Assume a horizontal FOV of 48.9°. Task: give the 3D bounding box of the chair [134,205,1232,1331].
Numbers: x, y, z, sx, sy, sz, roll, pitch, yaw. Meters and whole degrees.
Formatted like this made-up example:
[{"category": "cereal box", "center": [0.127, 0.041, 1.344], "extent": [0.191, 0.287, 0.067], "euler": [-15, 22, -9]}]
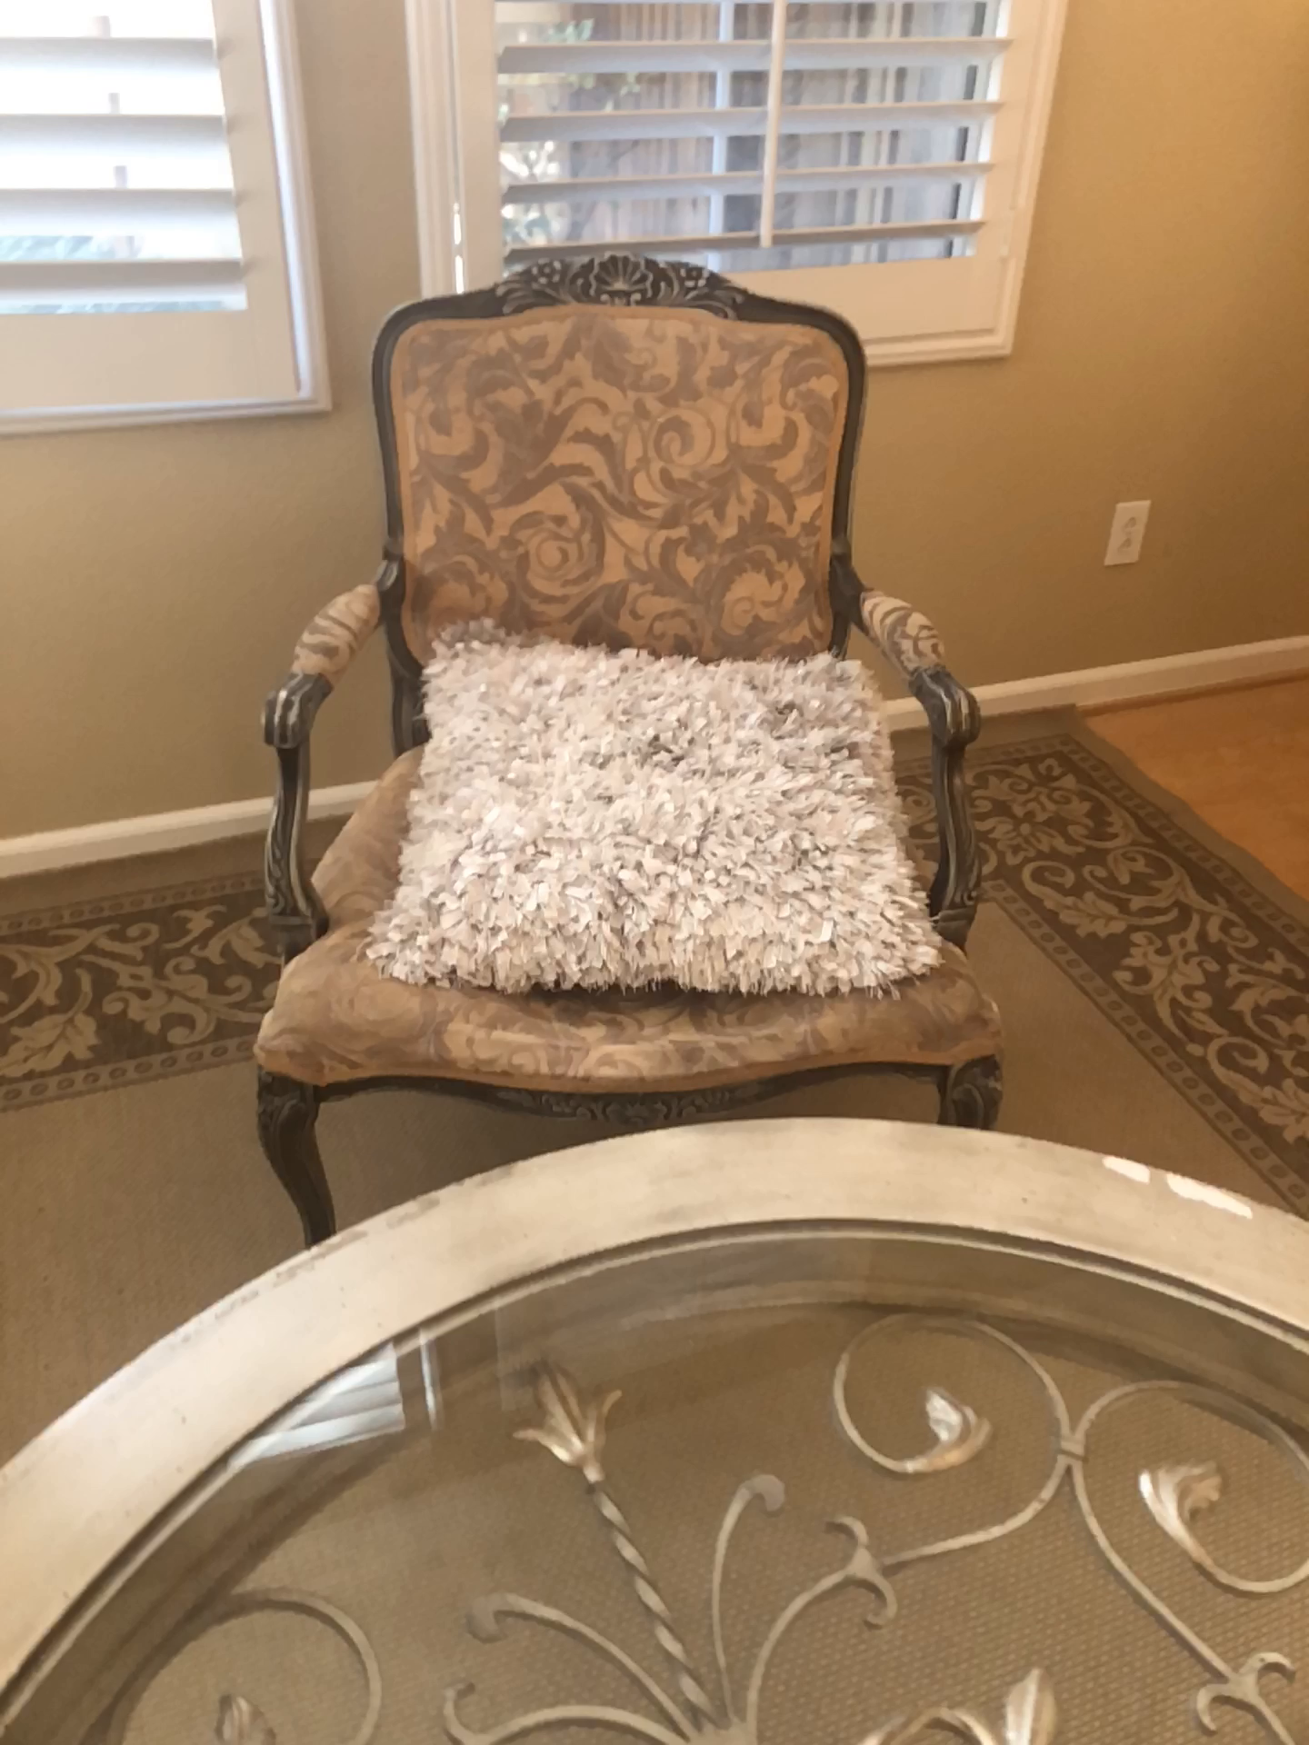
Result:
[{"category": "chair", "center": [-0.004, -0.117, 1.530], "extent": [0.760, 0.971, 0.655], "euler": [-1, 34, -4]}]
